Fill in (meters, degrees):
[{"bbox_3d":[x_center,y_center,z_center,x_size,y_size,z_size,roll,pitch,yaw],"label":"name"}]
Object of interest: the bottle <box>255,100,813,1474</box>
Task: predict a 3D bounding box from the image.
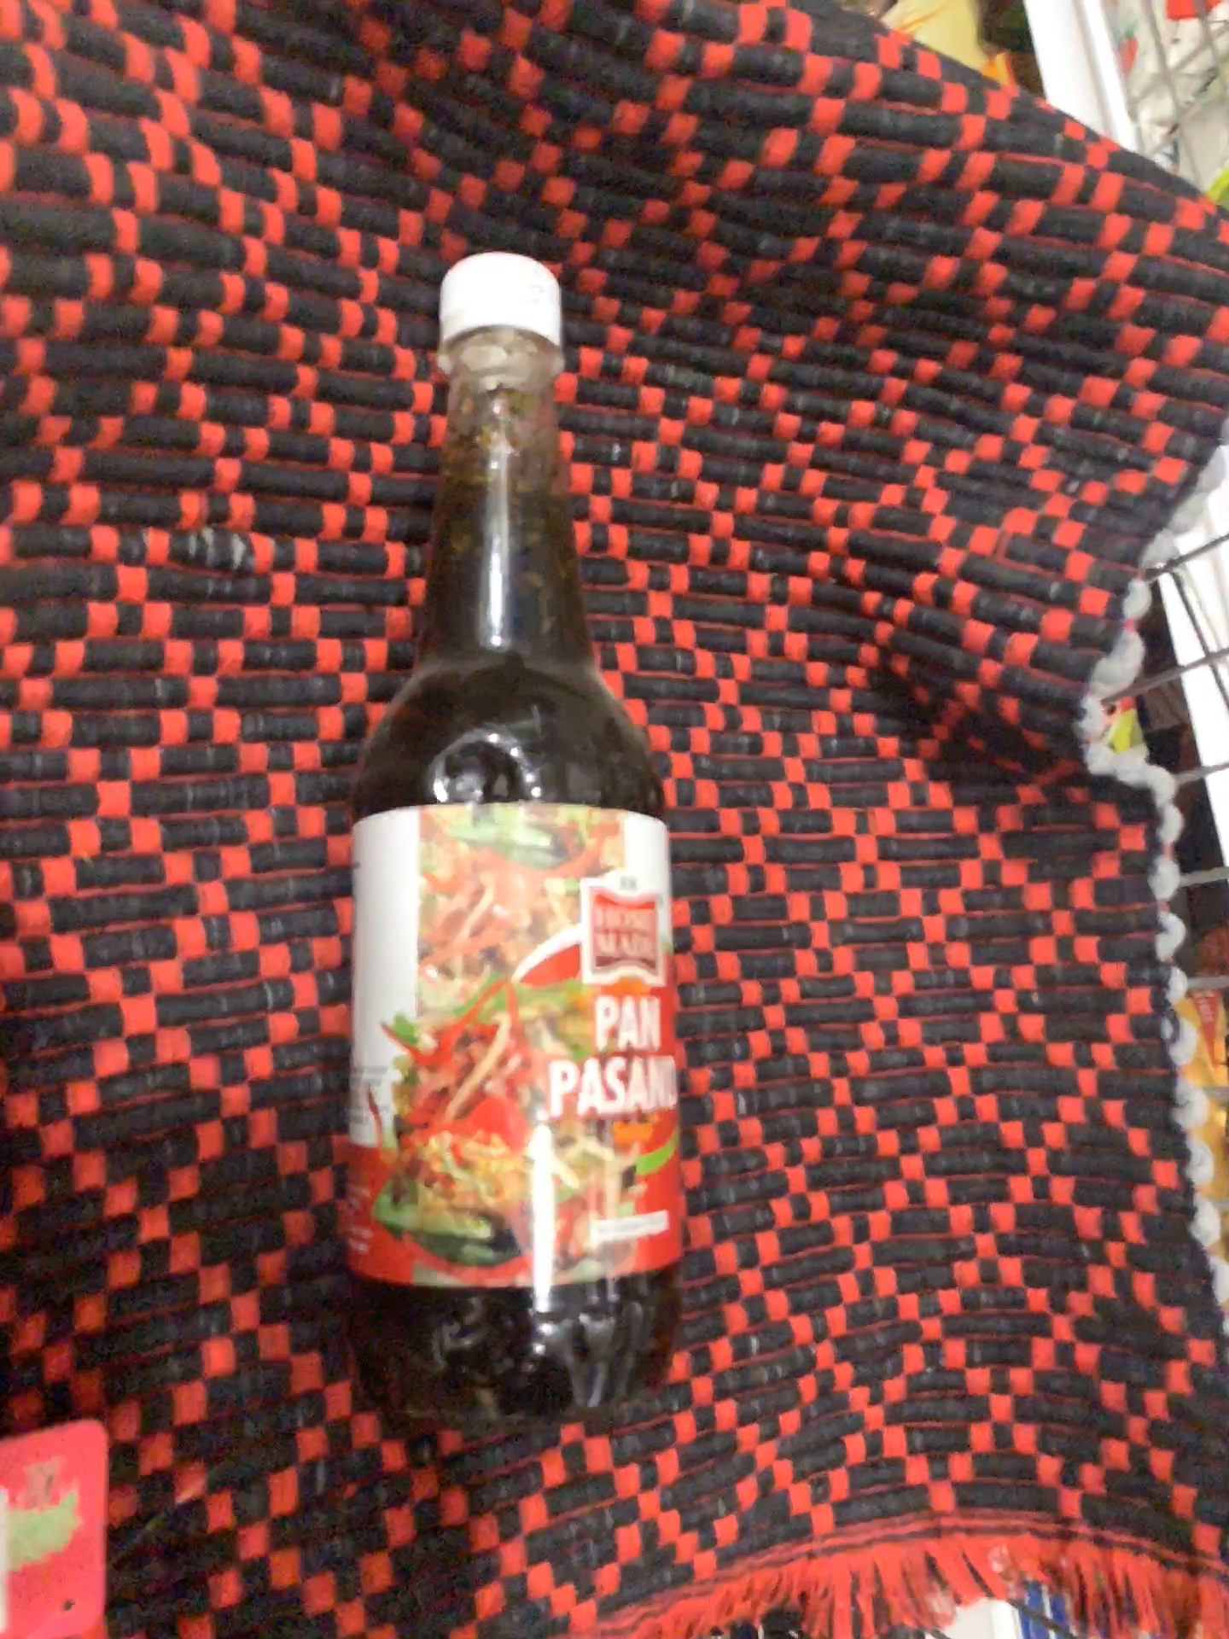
[{"bbox_3d":[-0.030,-0.013,0.297,0.090,0.080,0.280,4,72,-28],"label":"bottle"}]
